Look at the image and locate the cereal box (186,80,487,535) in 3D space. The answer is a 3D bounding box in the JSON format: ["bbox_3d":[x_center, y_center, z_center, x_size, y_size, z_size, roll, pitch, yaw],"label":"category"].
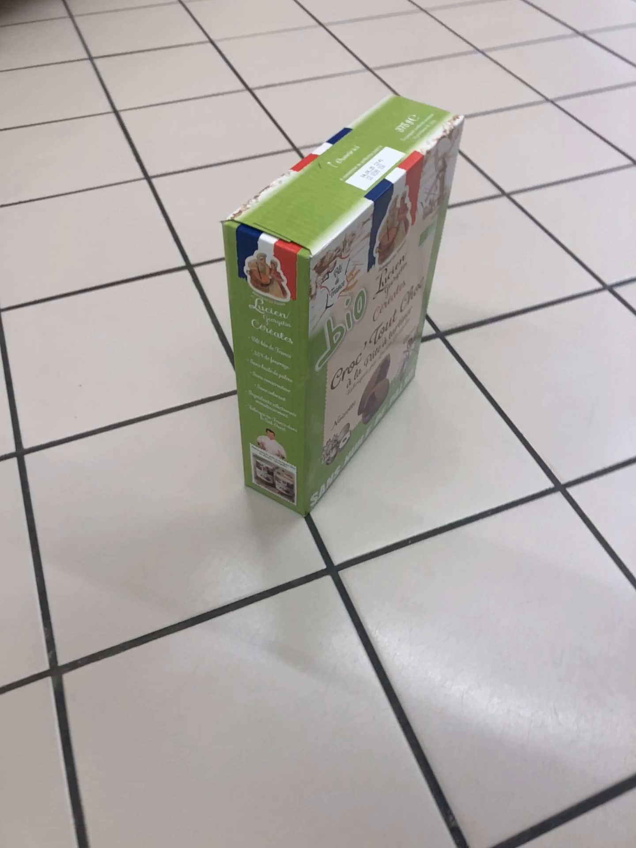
[{"bbox_3d":[0.020,-0.077,0.496,0.080,0.238,0.201,26,53,22],"label":"cereal box"}]
